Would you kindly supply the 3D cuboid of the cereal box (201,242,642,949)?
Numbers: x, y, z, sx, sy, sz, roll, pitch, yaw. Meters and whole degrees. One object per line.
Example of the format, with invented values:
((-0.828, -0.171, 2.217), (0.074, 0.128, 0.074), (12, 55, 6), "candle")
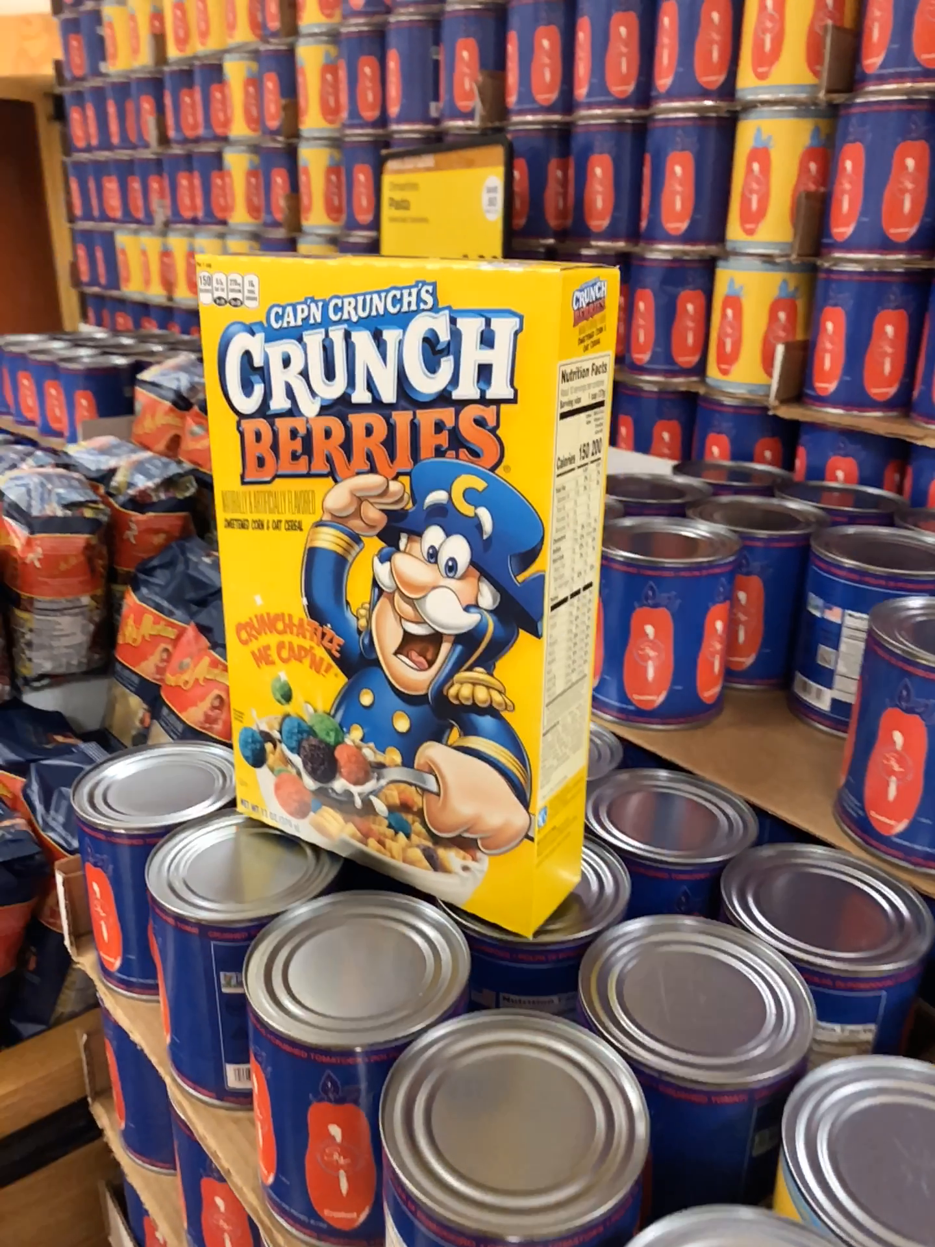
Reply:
((-0.027, -0.021, 0.491), (0.190, 0.298, 0.060), (14, 25, 32), "cereal box")
